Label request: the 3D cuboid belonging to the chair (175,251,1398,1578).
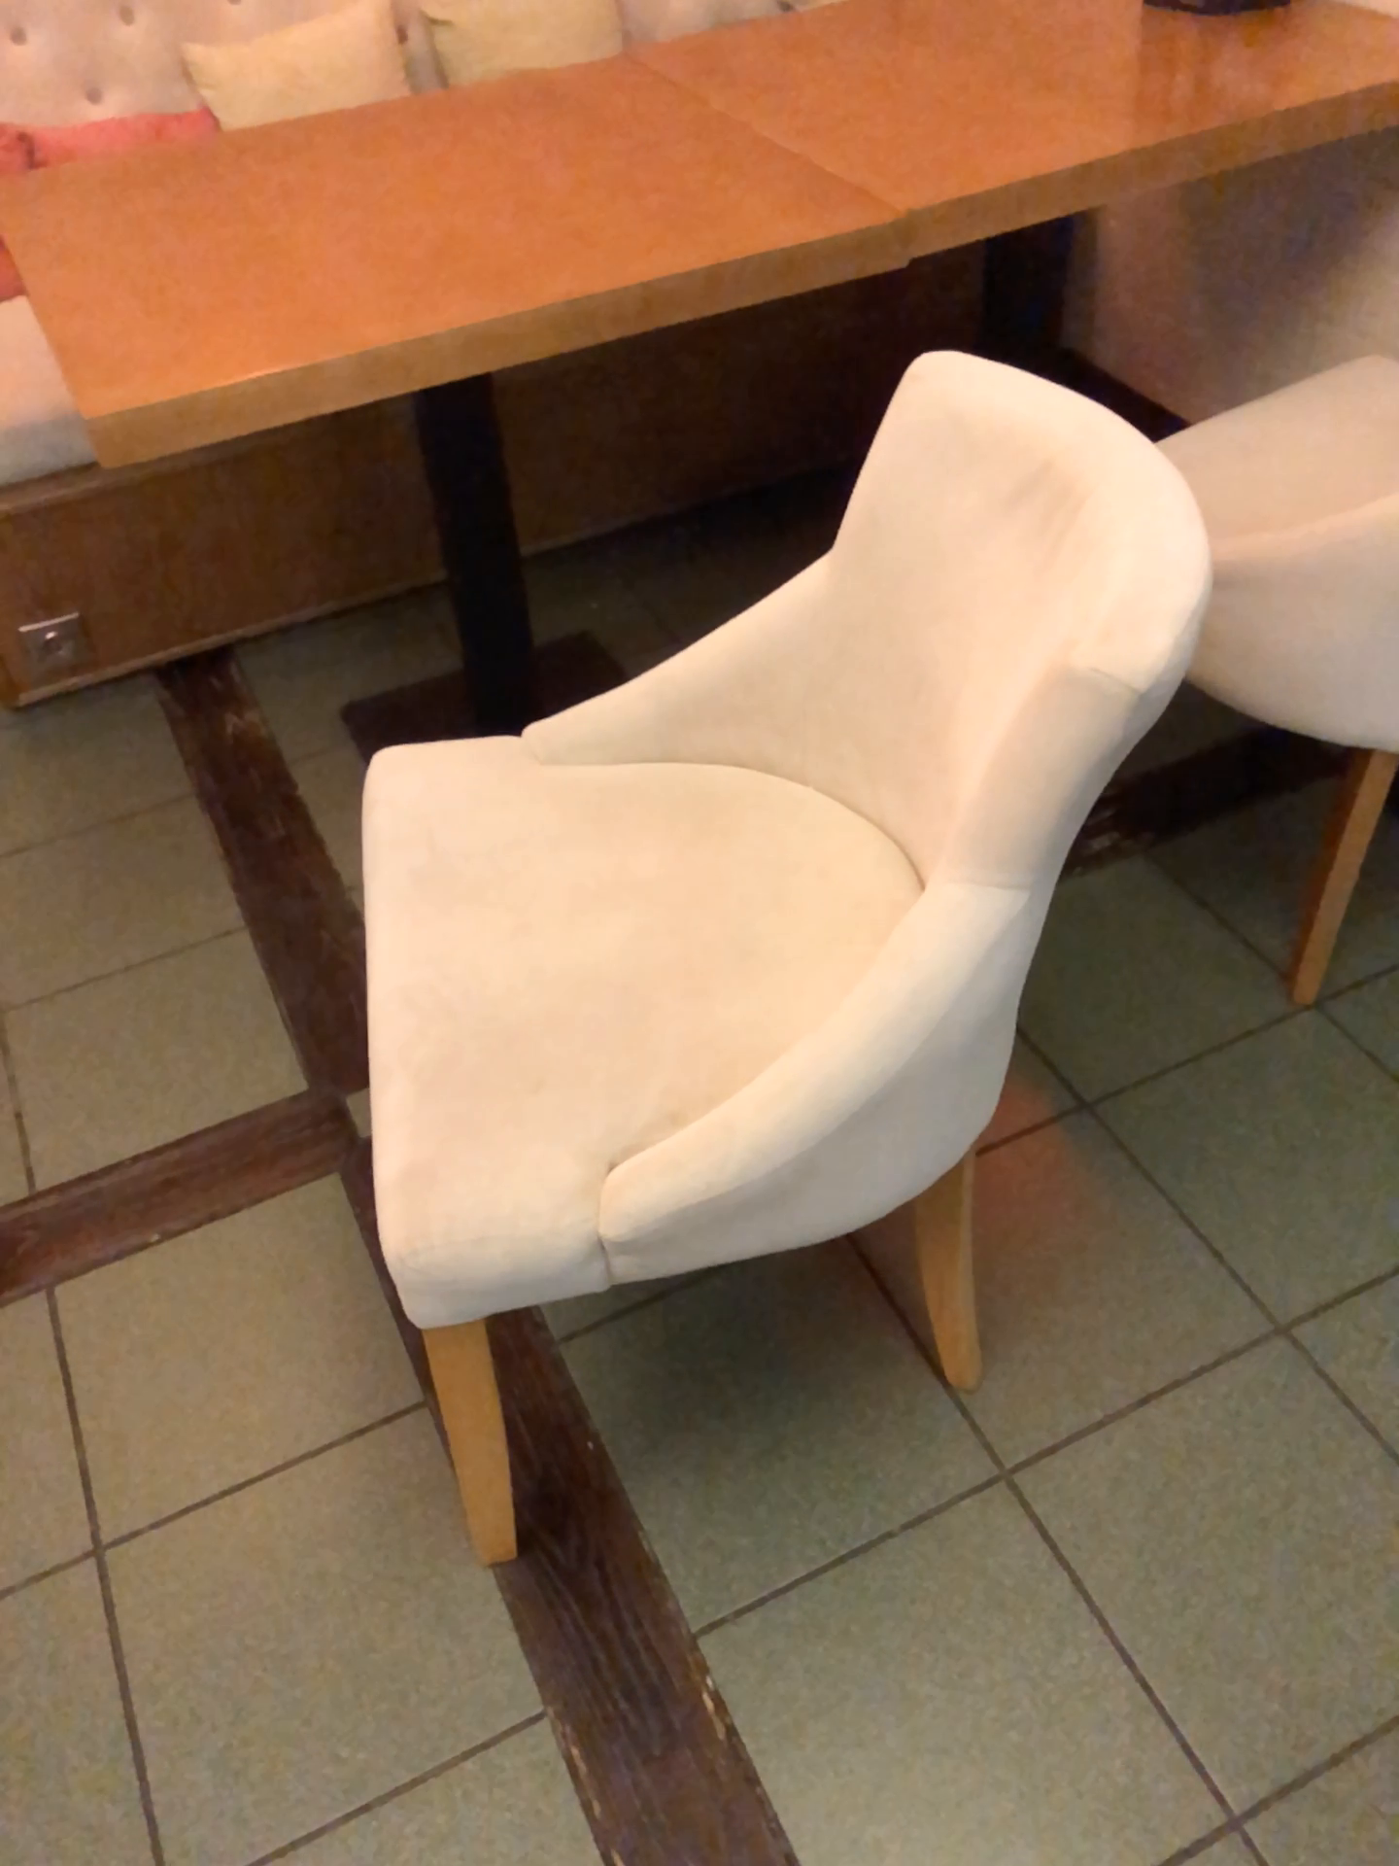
[{"bbox_3d":[0.032,-0.019,1.243,0.660,0.736,0.634,-11,44,-6],"label":"chair"}]
